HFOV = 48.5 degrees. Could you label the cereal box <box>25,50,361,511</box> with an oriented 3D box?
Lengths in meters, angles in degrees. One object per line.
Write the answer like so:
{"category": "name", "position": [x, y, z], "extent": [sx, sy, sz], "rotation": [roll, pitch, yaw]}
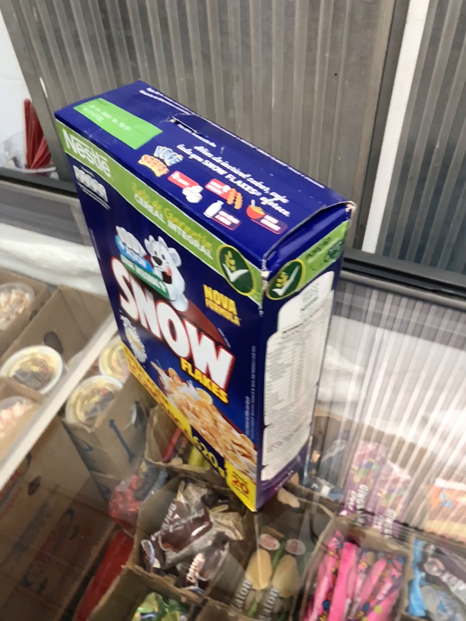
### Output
{"category": "cereal box", "position": [-0.031, -0.006, 0.416], "extent": [0.070, 0.308, 0.231], "rotation": [-34, 55, -24]}
